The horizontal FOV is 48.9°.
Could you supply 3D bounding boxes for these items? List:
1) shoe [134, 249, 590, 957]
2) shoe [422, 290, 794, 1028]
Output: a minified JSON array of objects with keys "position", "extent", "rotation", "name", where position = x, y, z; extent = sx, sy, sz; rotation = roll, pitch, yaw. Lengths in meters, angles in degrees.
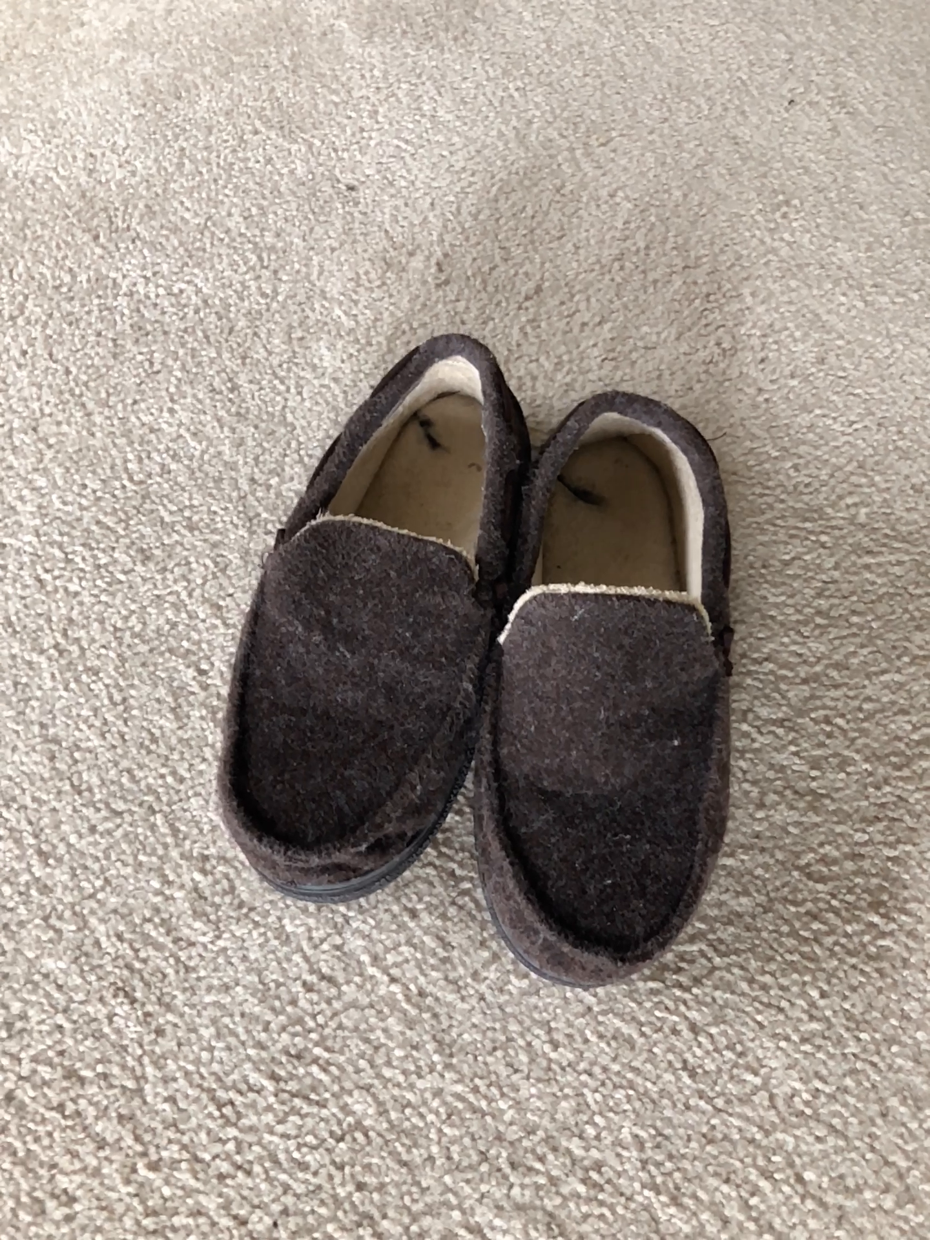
[{"position":[-0.031,-0.020,0.493],"extent":[0.120,0.096,0.318],"rotation":[11,63,6],"name":"shoe"},{"position":[0.073,0.006,0.474],"extent":[0.118,0.096,0.317],"rotation":[10,63,5],"name":"shoe"}]
